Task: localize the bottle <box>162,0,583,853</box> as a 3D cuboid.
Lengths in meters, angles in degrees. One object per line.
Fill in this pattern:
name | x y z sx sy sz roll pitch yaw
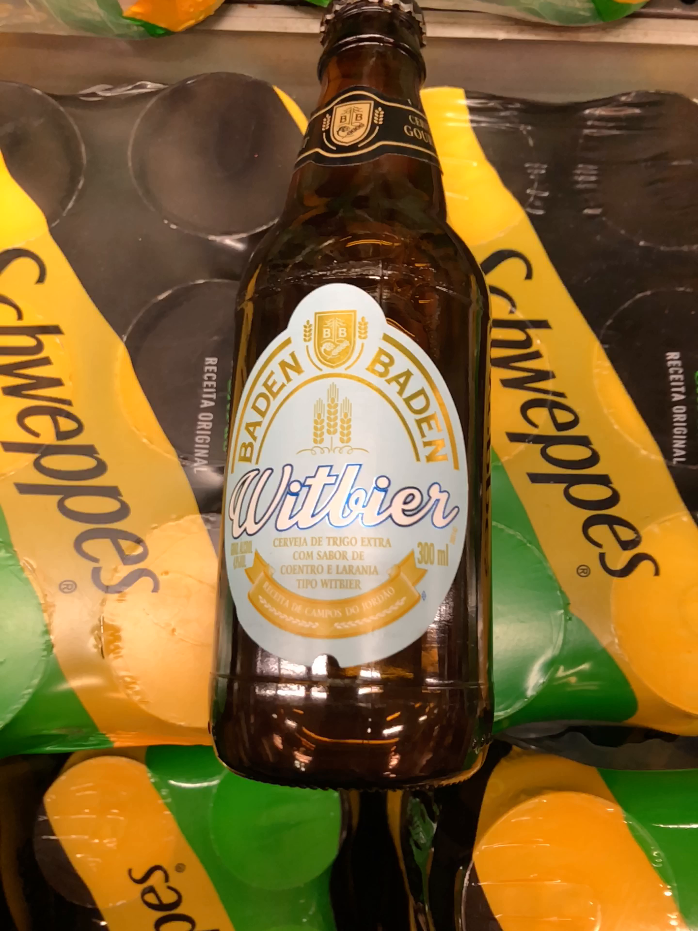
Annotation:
bottle | 0.007 -0.031 0.175 0.070 0.060 0.200 3 81 -2
